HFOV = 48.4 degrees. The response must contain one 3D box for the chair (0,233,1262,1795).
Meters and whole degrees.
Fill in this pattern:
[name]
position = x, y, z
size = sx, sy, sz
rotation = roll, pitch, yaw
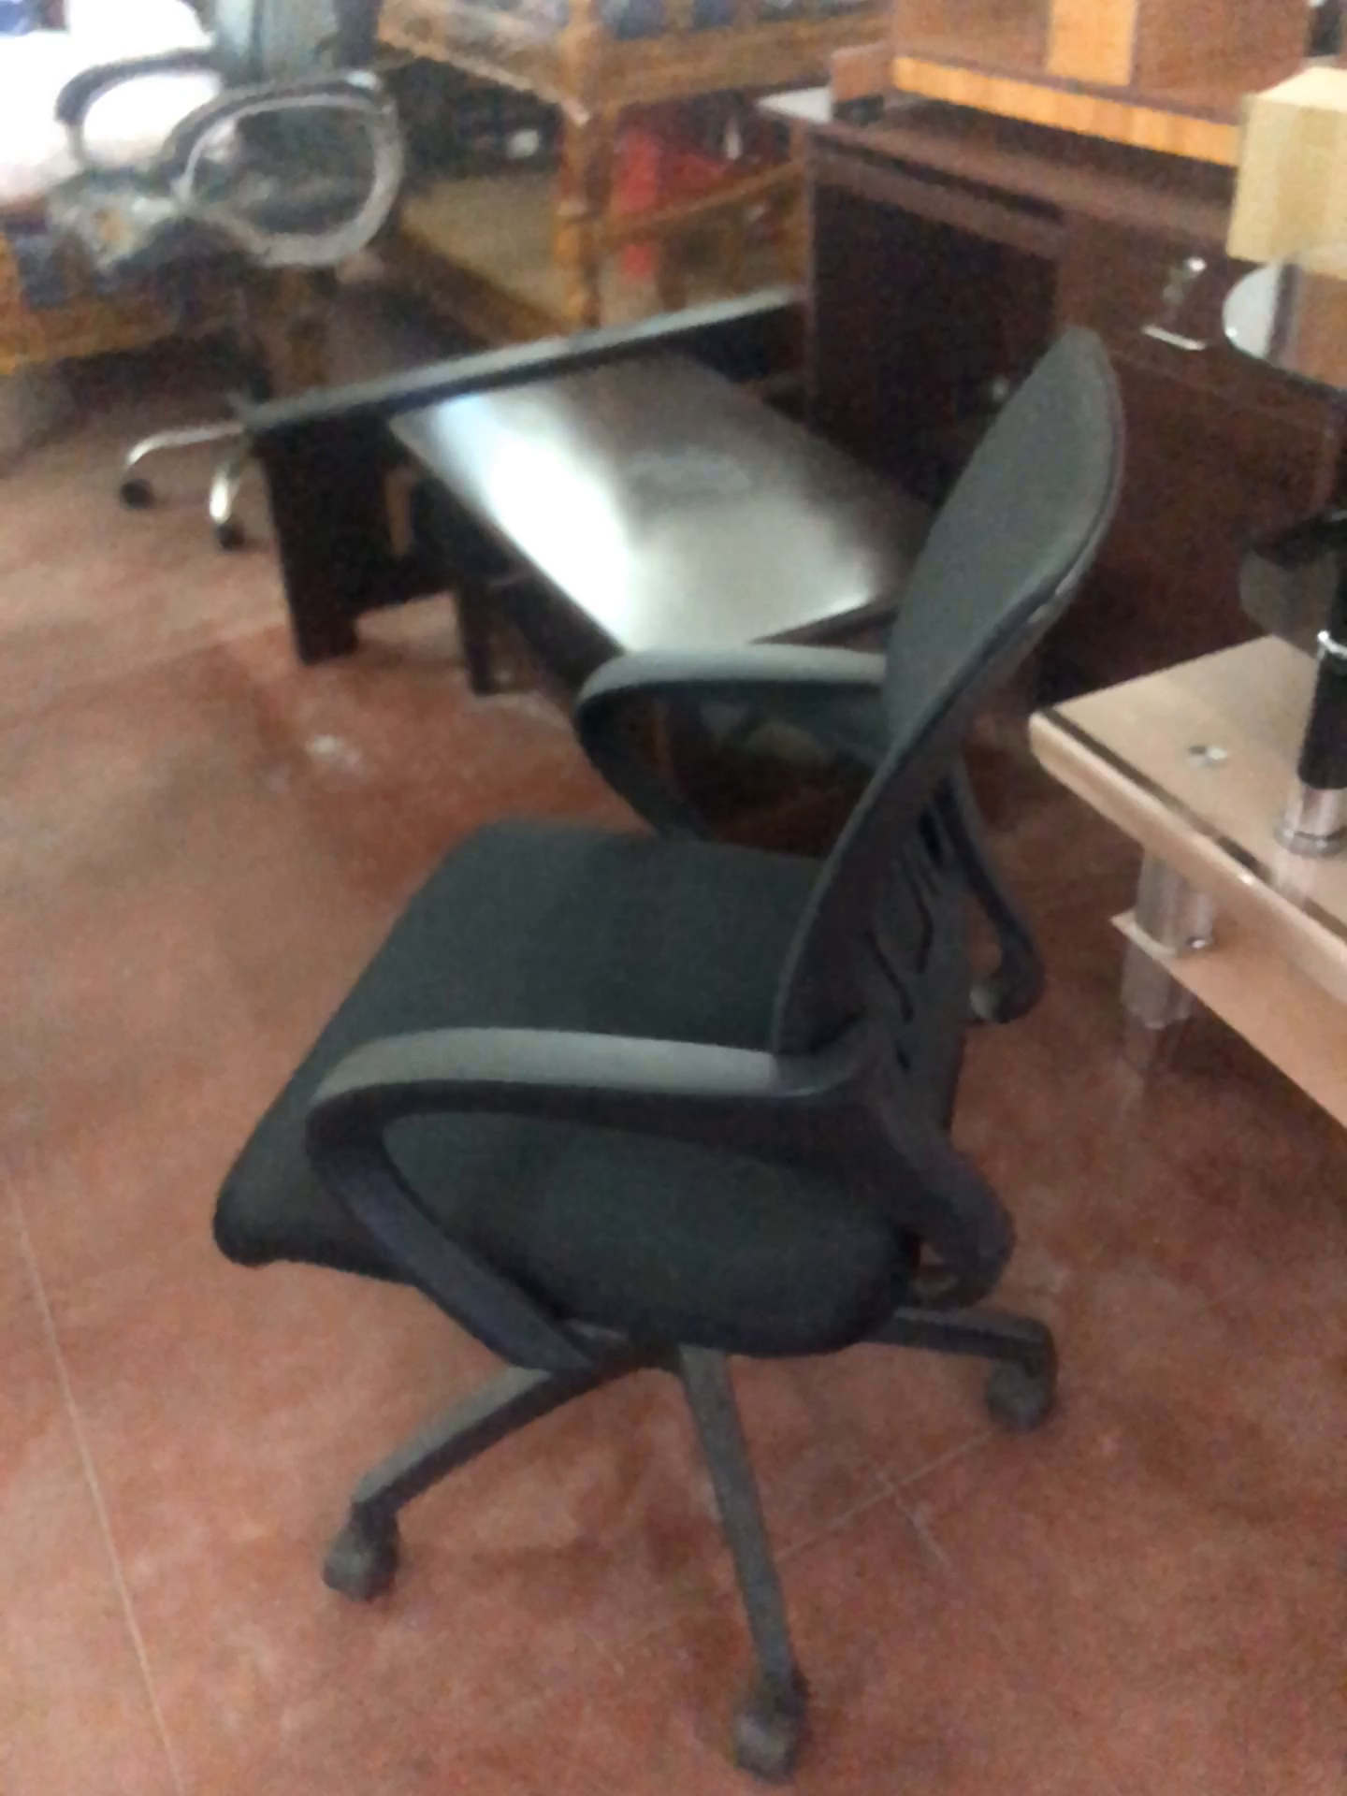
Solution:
[chair]
position = 0.020, 0.080, 1.149
size = 0.630, 0.915, 0.754
rotation = 7, 39, 14
